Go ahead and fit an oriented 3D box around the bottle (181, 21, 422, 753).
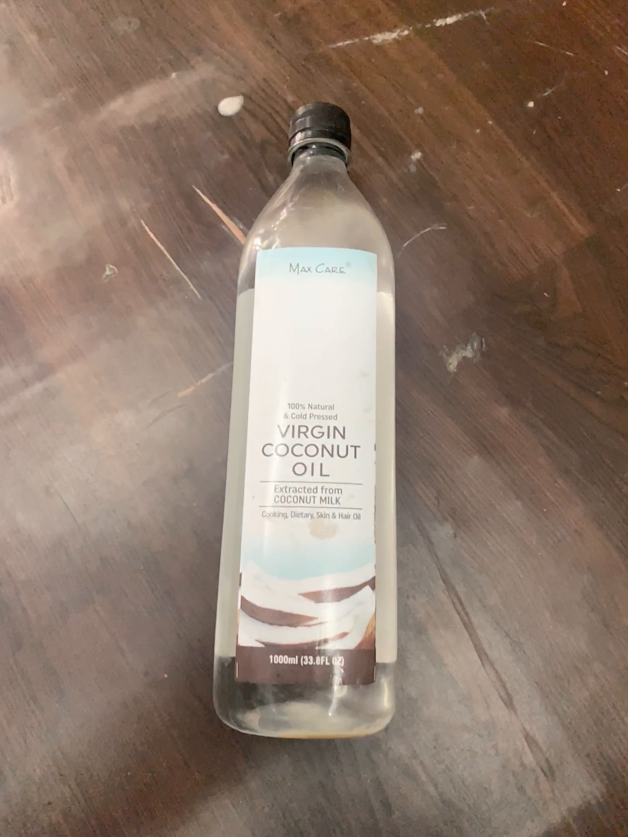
[{"bbox_3d":[-0.001,-0.023,0.283,0.080,0.070,0.290,1,76,0],"label":"bottle"}]
